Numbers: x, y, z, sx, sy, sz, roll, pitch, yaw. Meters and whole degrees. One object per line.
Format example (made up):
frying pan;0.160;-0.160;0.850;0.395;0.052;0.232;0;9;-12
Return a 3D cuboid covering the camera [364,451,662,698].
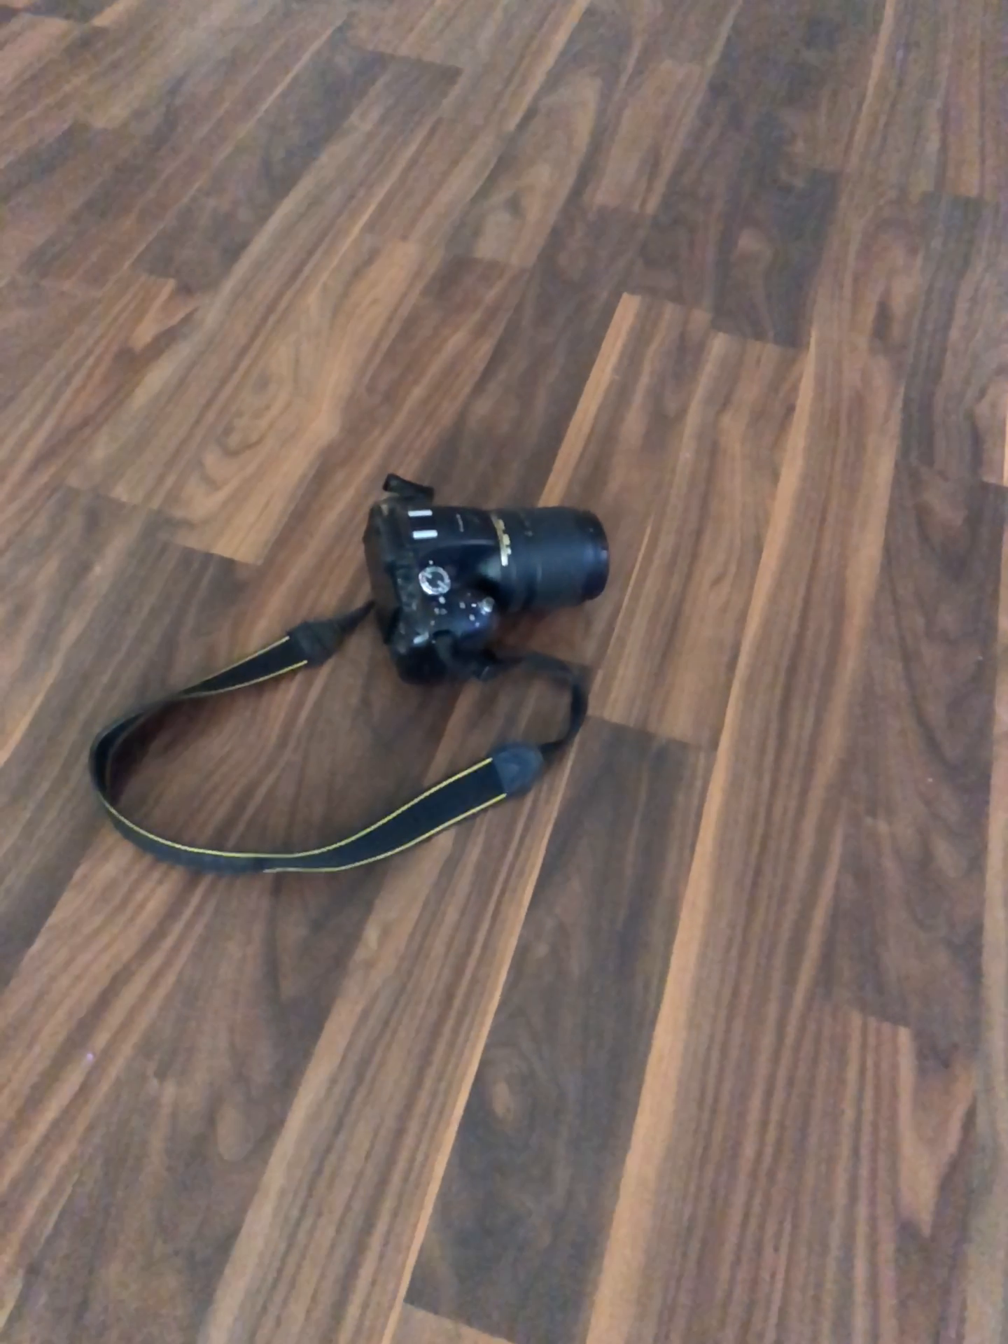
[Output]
camera;0.002;-0.067;0.723;0.160;0.070;0.120;-12;54;-12
